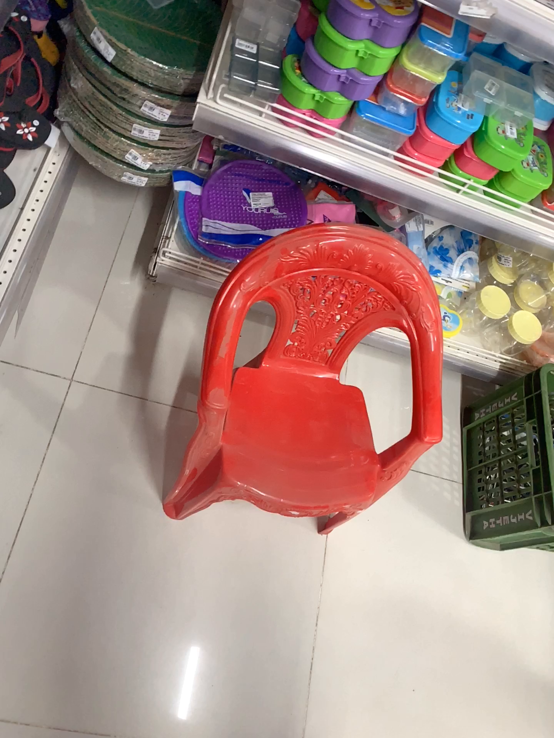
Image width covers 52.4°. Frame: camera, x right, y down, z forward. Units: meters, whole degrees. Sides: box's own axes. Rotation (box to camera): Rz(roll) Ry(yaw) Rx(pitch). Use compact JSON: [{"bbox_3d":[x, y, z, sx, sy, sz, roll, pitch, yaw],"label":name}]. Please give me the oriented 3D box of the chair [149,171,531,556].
[{"bbox_3d":[0.054,0.054,0.937,0.410,0.499,0.410,12,65,-14],"label":"chair"}]
